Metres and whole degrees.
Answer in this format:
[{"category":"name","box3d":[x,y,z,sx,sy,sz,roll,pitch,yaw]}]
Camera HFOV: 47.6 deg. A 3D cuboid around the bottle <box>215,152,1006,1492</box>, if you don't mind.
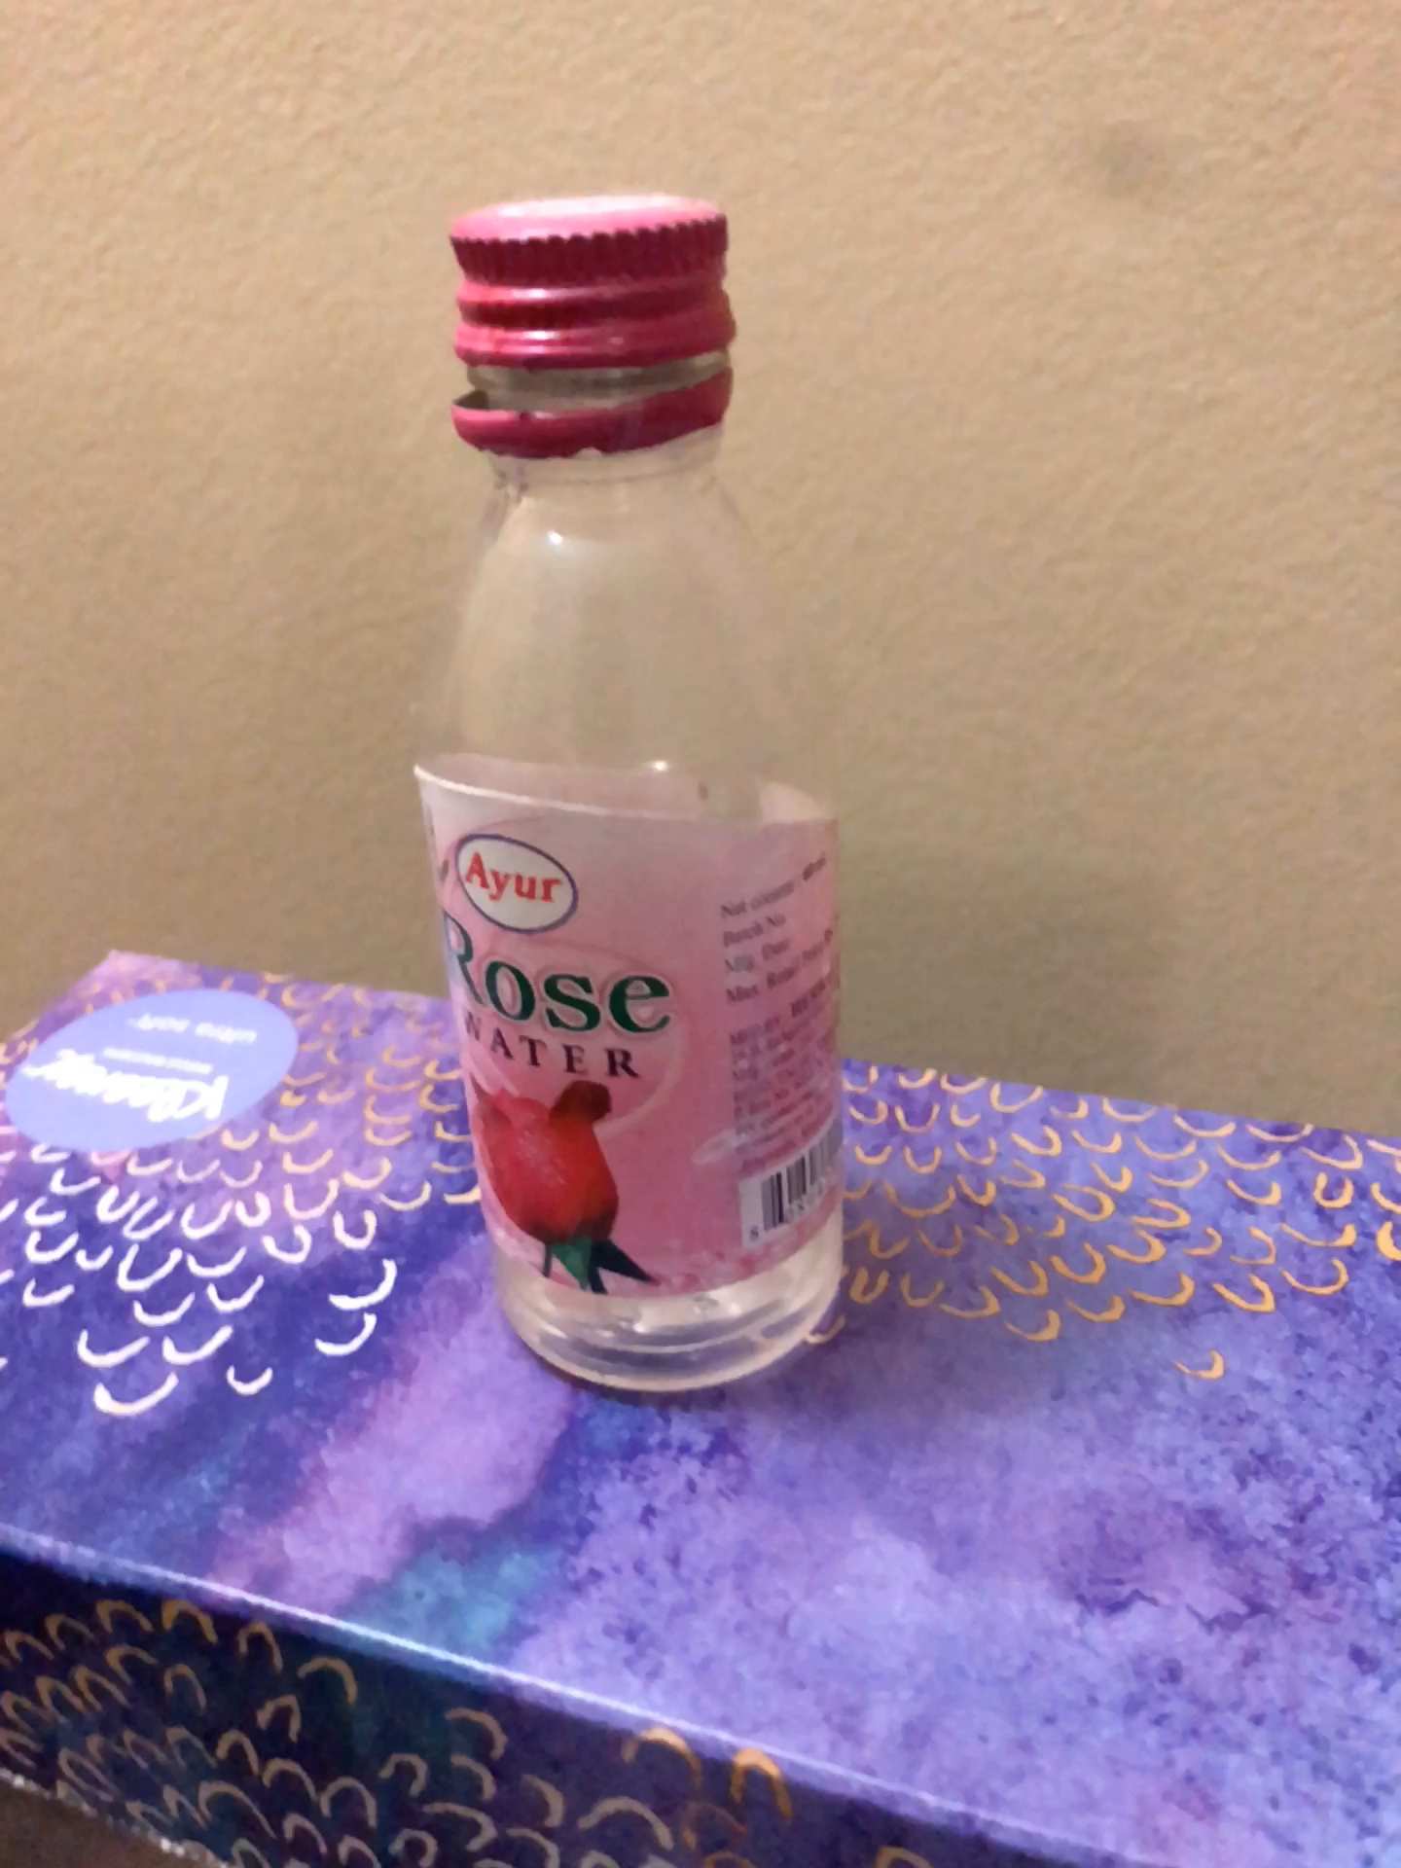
[{"category":"bottle","box3d":[-0.003,-0.010,0.136,0.040,0.100,0.040,-2,28,1]}]
